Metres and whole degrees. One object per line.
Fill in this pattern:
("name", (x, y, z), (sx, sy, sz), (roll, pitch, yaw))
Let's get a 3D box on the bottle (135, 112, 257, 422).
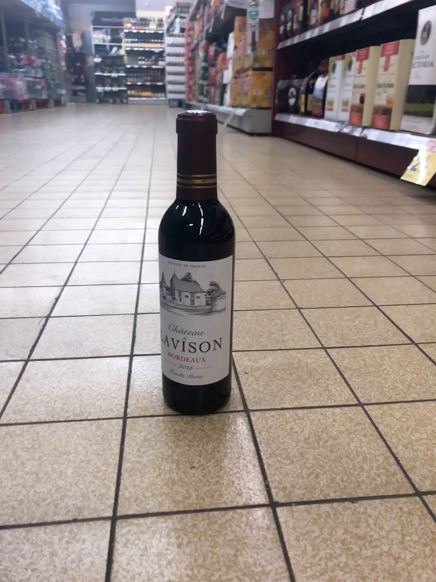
("bottle", (-0.014, -0.016, 0.360), (0.070, 0.219, 0.060), (4, 21, 9))
